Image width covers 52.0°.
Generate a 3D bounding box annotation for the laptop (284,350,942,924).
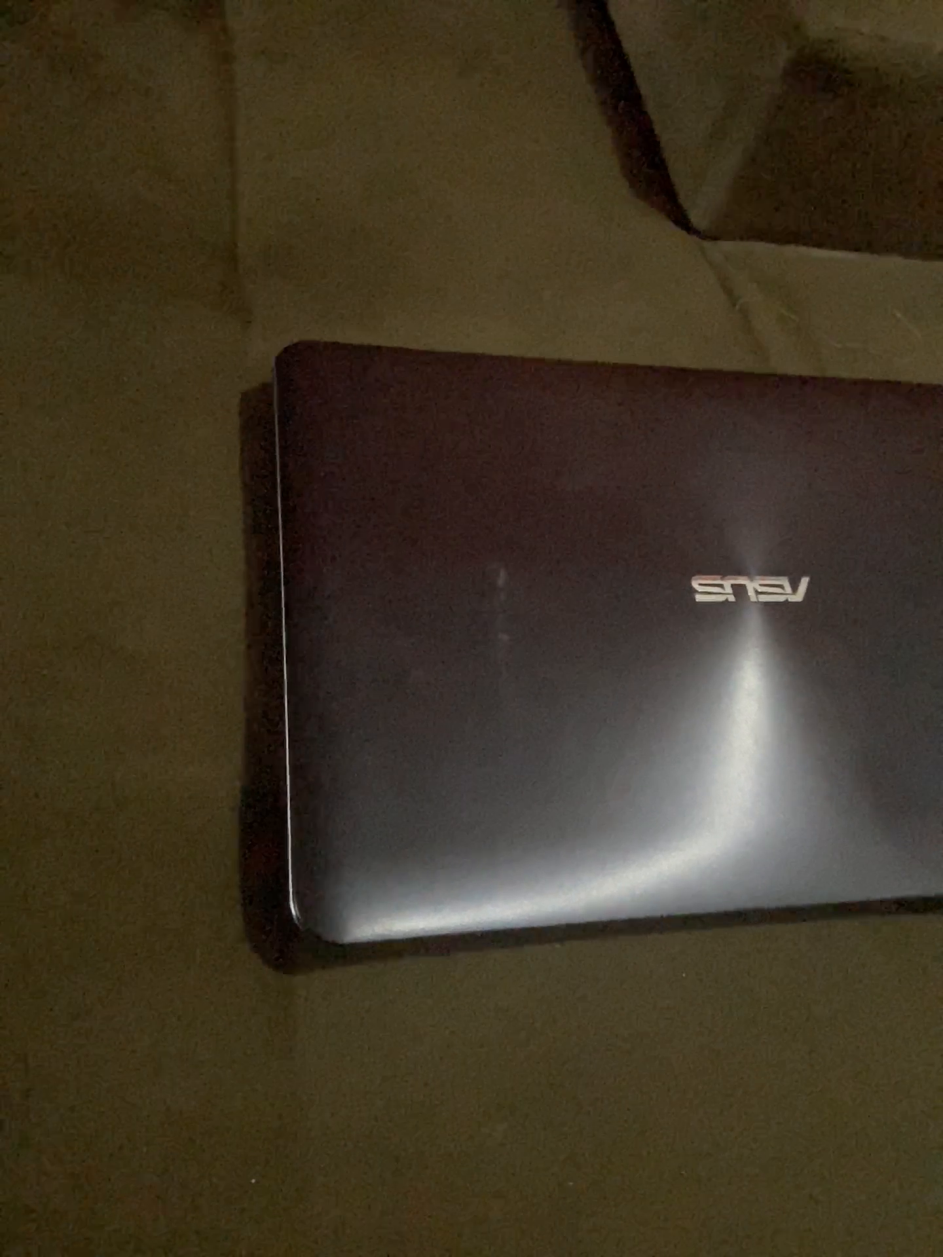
[{"bbox_3d":[0.116,-0.015,0.395,0.370,0.004,0.235,-1,61,-14],"label":"laptop"}]
